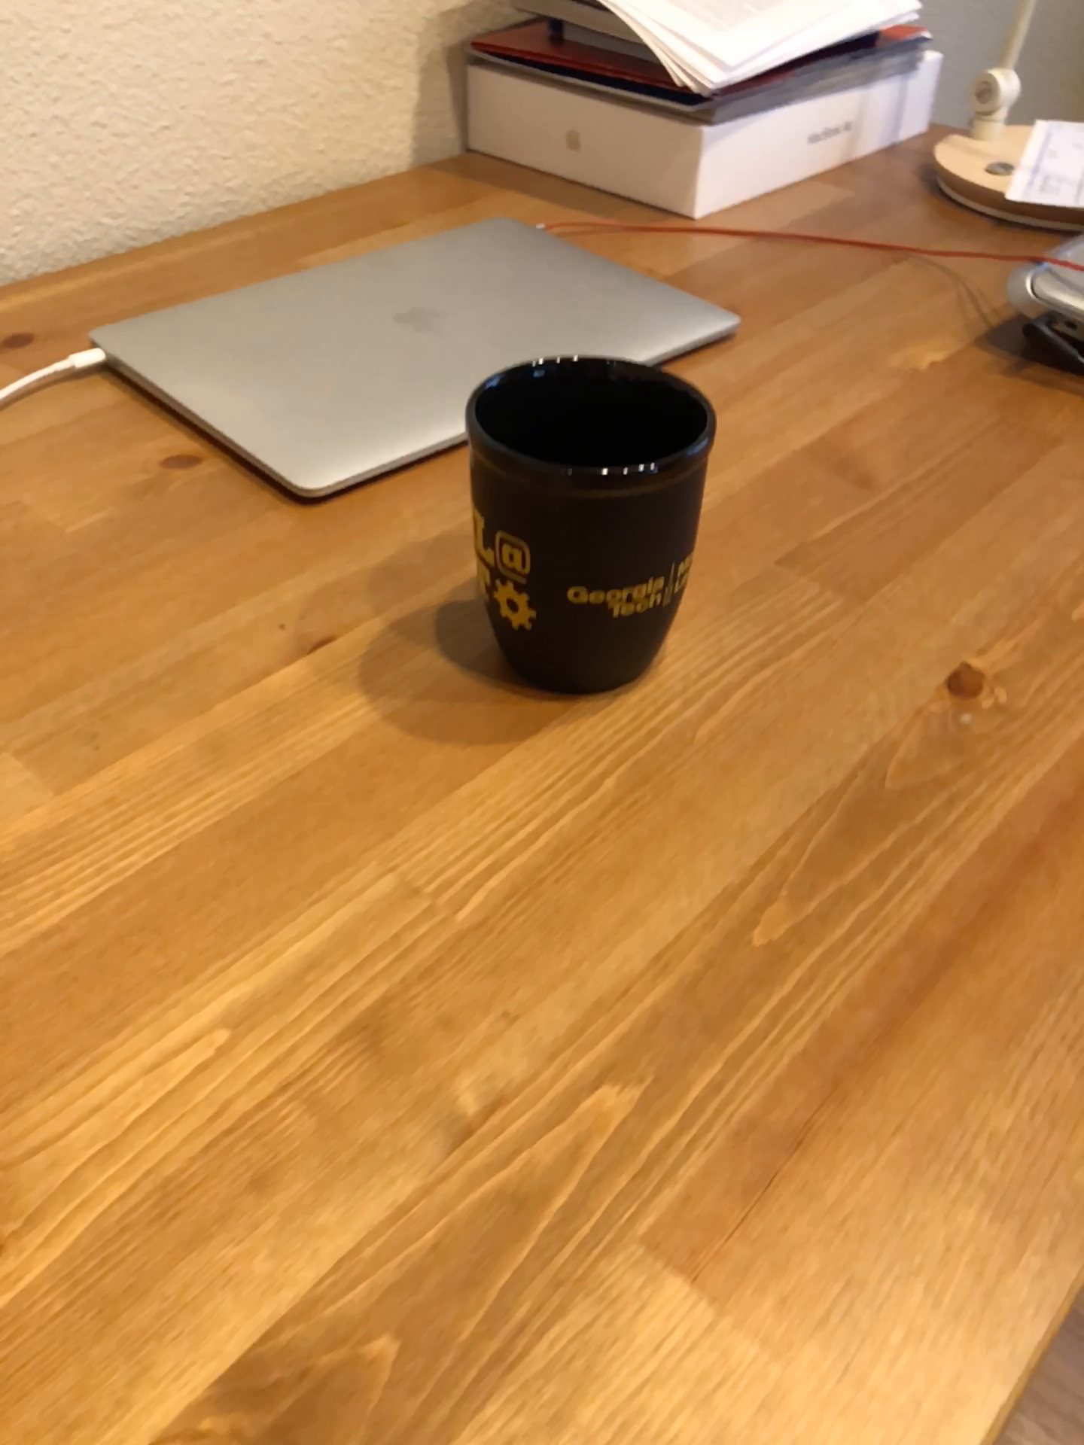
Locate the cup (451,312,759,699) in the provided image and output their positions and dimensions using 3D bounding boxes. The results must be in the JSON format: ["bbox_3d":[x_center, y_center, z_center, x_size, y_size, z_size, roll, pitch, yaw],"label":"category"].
[{"bbox_3d":[0.016,-0.084,0.452,0.090,0.090,0.120,-4,41,-6],"label":"cup"}]
